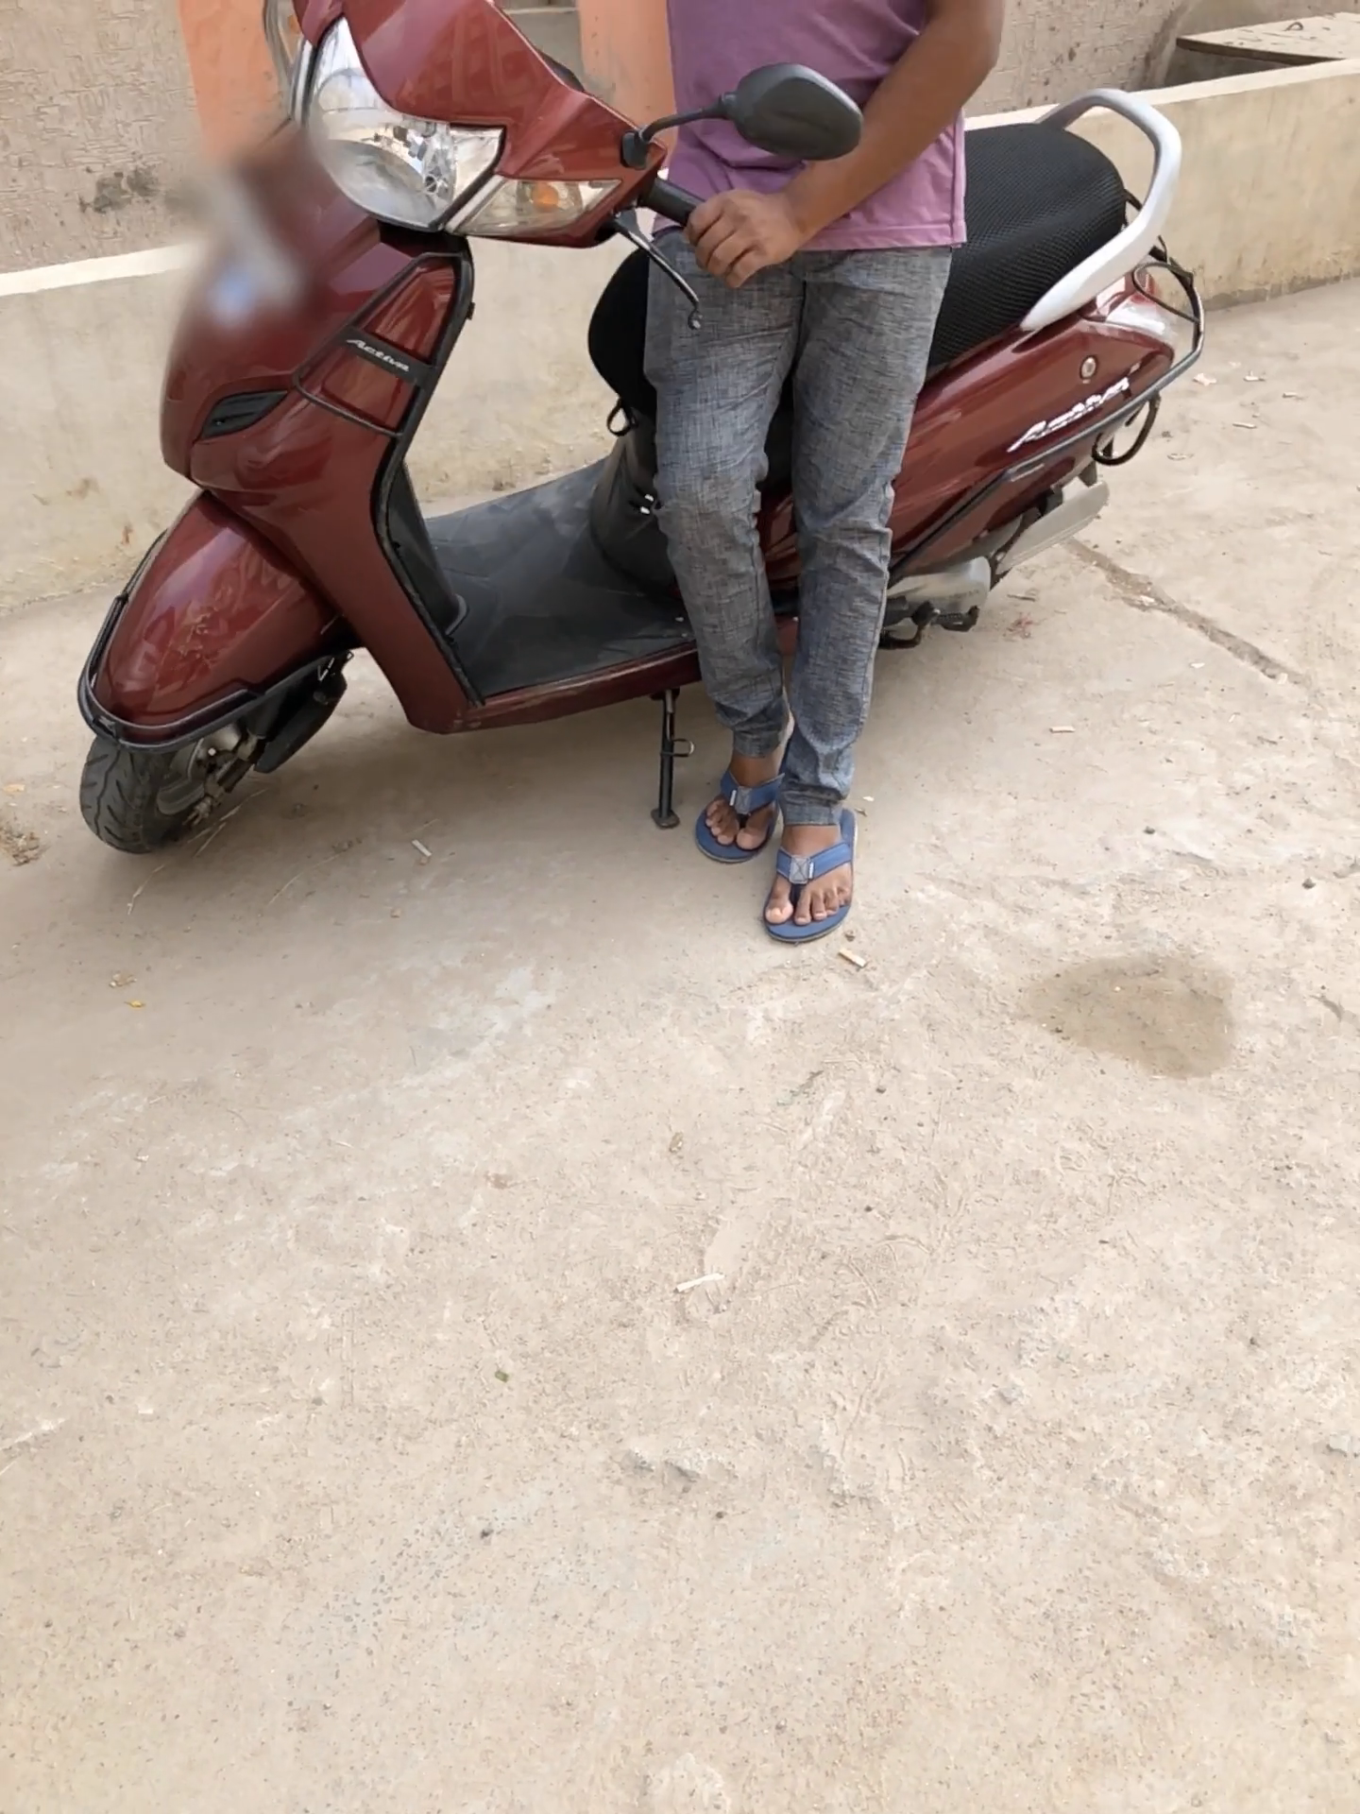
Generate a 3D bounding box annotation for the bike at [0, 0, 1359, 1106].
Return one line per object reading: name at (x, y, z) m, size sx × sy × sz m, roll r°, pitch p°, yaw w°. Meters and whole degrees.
bike at (-0.045, -0.630, 1.927) m, size 1.582 × 1.072 × 0.631 m, roll -22°, pitch 41°, yaw -23°
